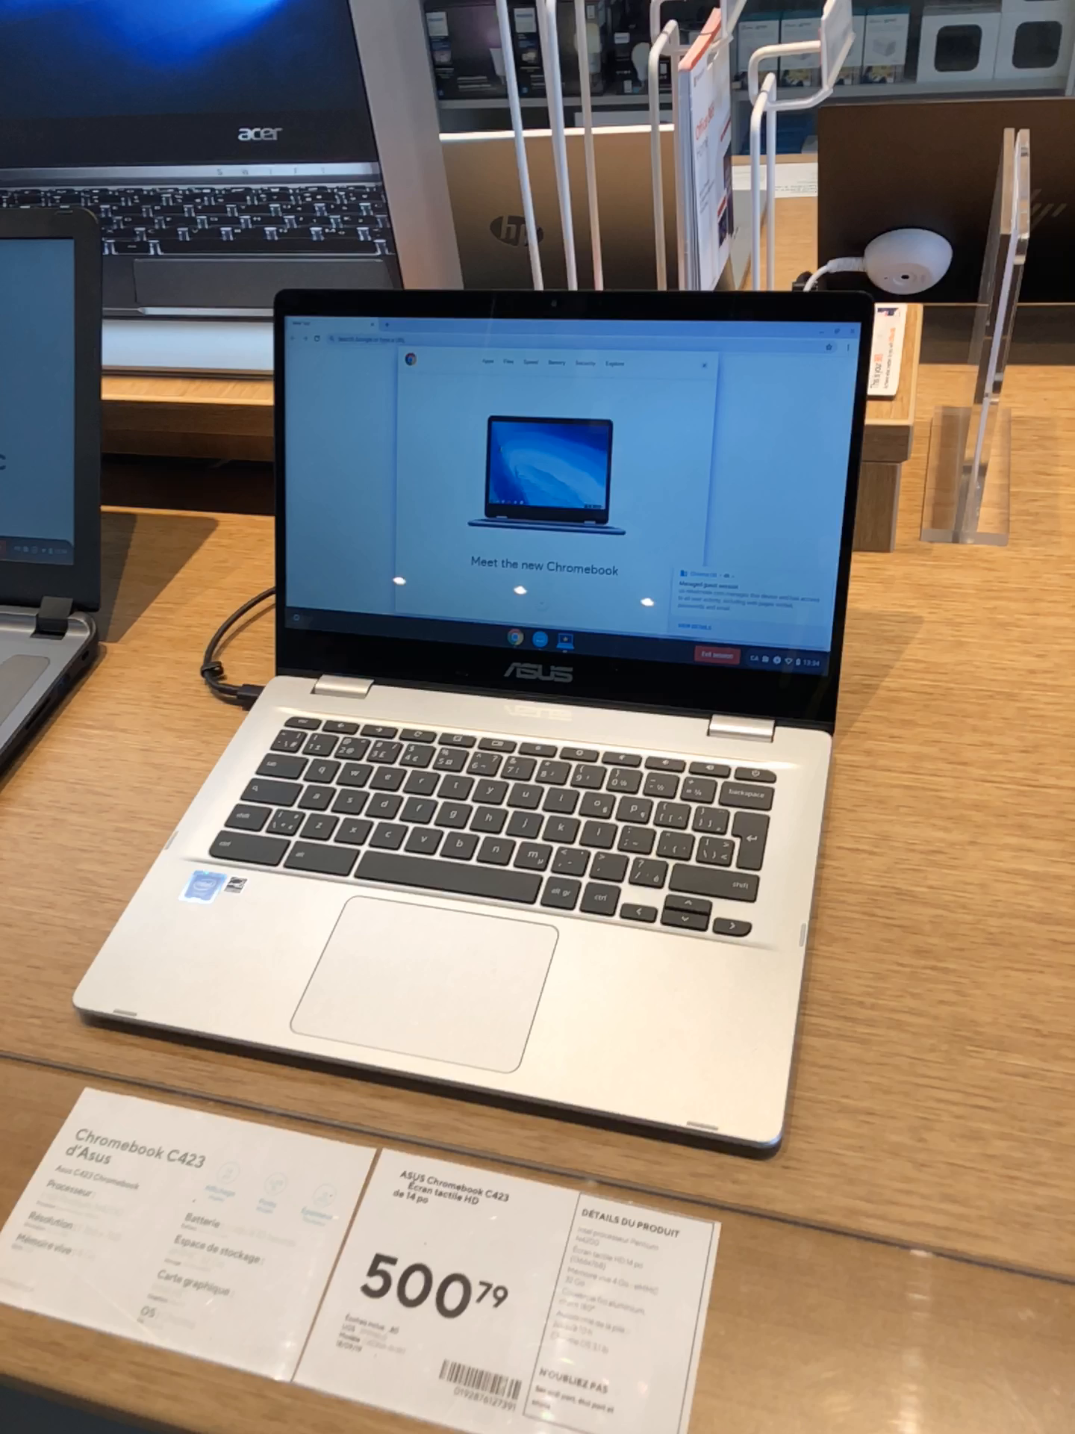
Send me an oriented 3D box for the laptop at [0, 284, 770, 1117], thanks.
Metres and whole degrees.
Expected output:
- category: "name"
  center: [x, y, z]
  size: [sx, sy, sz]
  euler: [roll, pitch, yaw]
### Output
- category: "laptop"
  center: [-0.047, -0.039, 0.547]
  size: [0.281, 0.186, 0.337]
  euler: [5, 44, 12]
